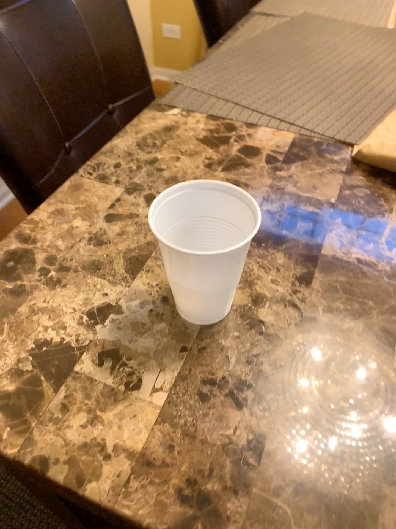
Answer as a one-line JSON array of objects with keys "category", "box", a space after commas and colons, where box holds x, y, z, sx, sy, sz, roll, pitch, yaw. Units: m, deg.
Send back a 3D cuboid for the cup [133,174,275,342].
[{"category": "cup", "box": [0.007, -0.006, 0.310, 0.081, 0.083, 0.078, 0, 46, 0]}]
